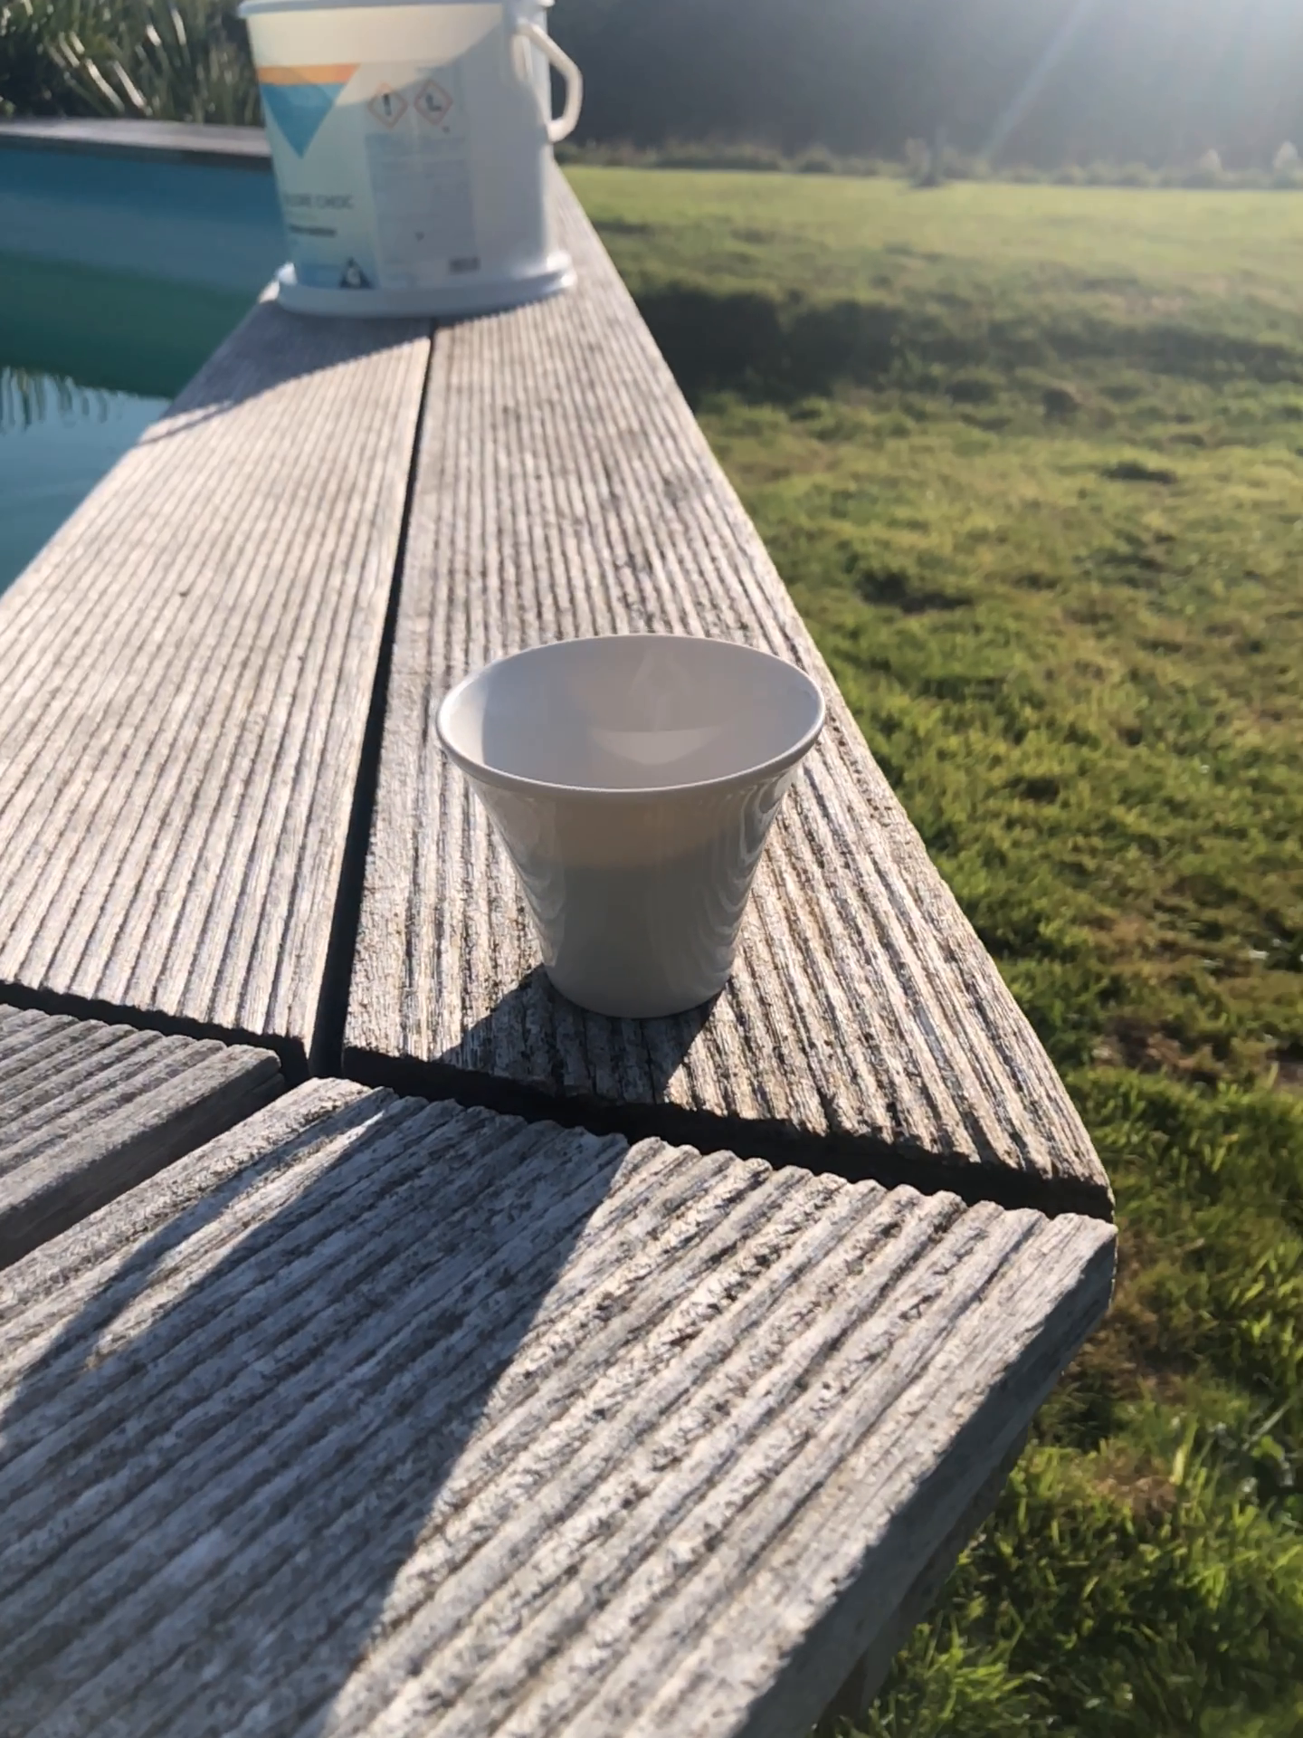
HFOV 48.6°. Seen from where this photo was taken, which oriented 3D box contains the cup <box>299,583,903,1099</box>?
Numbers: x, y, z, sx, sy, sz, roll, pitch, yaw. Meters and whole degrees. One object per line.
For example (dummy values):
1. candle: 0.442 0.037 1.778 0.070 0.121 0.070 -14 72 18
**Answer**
1. cup: -0.013 -0.013 0.296 0.077 0.053 0.097 -21 36 -32
